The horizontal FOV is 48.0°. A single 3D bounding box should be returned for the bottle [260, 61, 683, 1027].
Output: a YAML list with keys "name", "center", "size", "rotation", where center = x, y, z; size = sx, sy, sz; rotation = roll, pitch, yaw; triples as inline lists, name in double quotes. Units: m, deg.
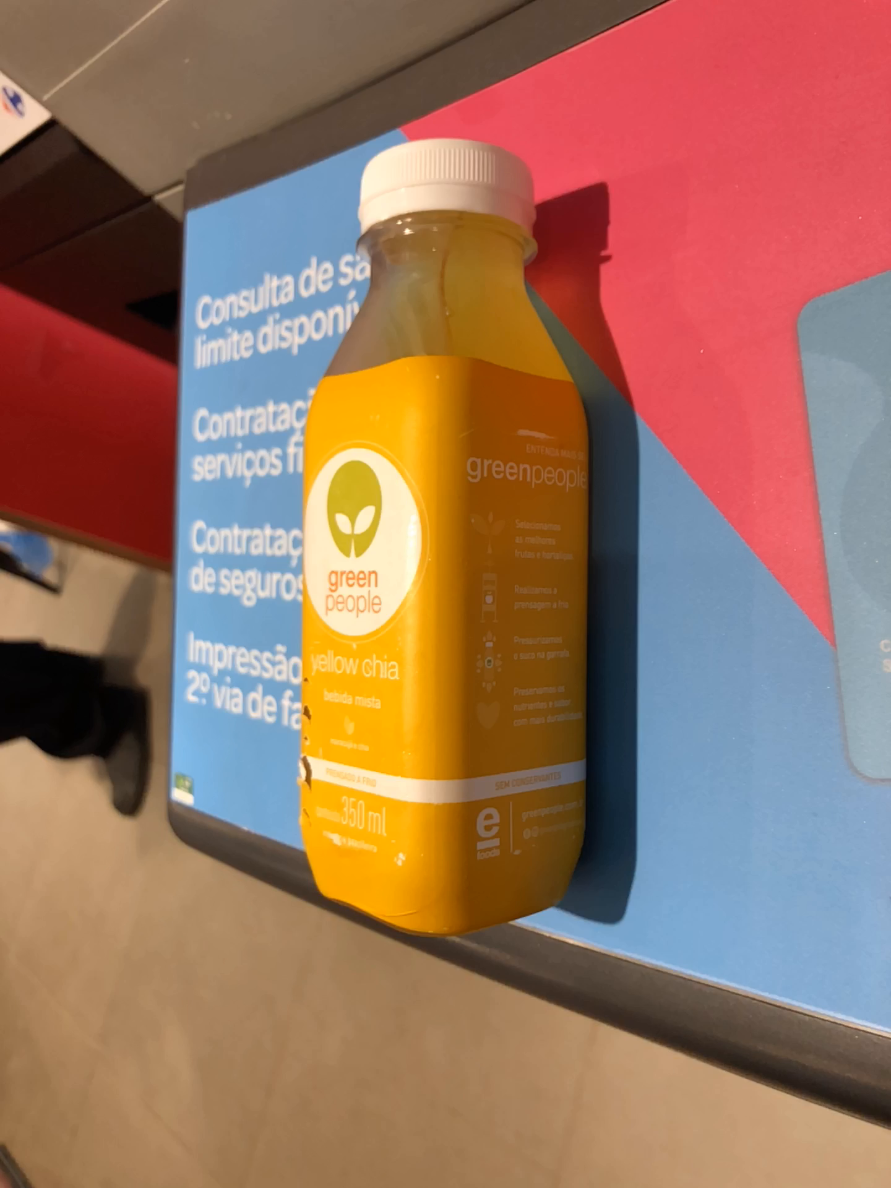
- name: "bottle"
  center: [0.005, -0.009, 0.229]
  size: [0.060, 0.060, 0.180]
  rotation: [6, 93, 49]
